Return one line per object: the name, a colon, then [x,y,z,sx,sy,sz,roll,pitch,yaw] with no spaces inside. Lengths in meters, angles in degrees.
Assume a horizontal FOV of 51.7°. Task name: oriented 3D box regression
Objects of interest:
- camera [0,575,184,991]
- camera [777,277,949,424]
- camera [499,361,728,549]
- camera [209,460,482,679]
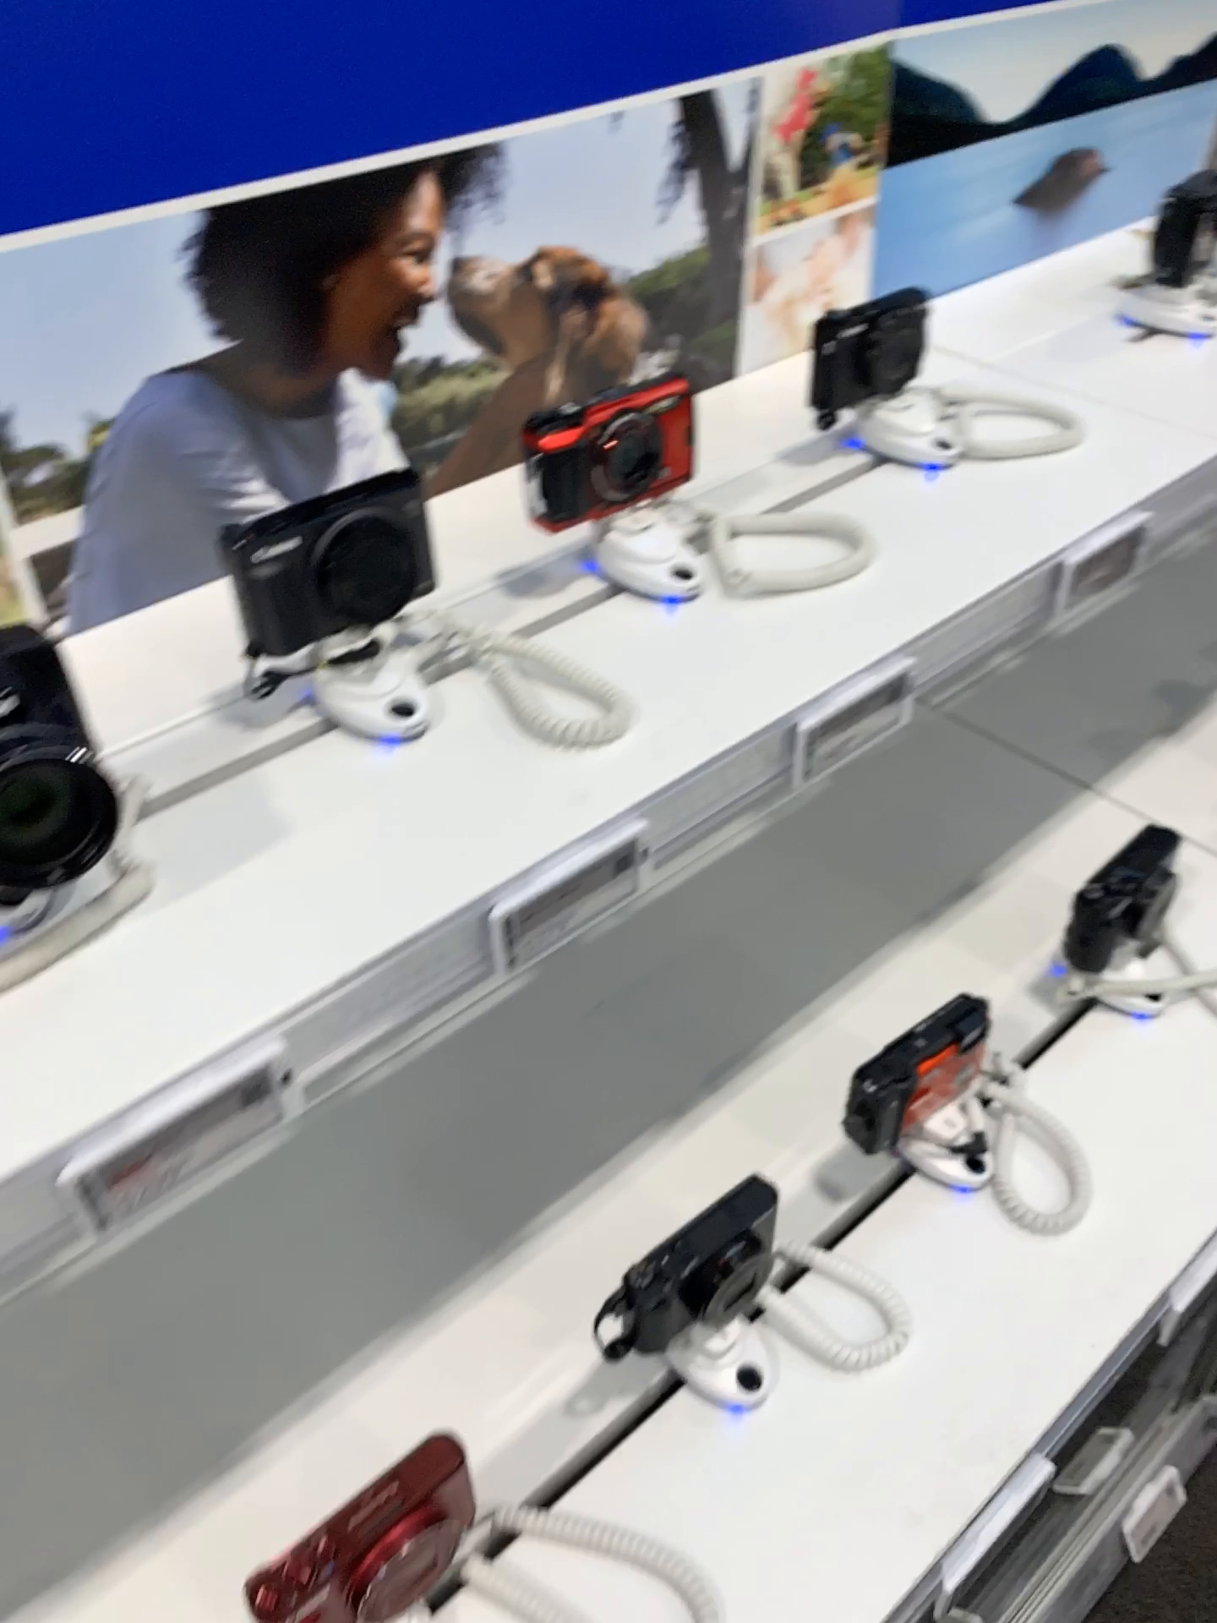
camera: [-0.257,-0.017,0.495,0.120,0.080,0.111,-30,46,-29]
camera: [0.173,-0.316,0.857,0.110,0.060,0.050,-30,47,-29]
camera: [0.005,-0.211,0.737,0.130,0.060,0.050,-30,47,-29]
camera: [-0.131,-0.126,0.643,0.120,0.060,0.050,-30,47,-29]
